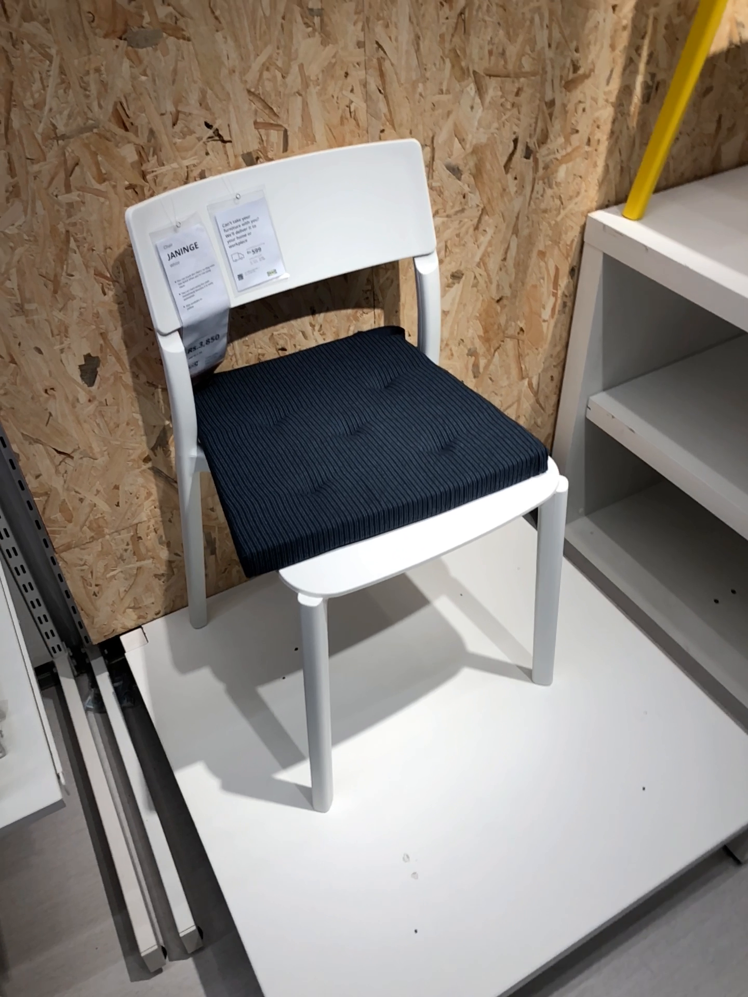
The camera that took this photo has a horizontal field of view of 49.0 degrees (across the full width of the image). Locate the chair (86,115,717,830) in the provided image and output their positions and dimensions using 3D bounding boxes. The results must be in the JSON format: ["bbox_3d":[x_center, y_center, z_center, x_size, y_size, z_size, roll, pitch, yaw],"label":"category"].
[{"bbox_3d":[0.014,-0.039,1.085,0.491,0.685,0.462,-22,46,-21],"label":"chair"}]
